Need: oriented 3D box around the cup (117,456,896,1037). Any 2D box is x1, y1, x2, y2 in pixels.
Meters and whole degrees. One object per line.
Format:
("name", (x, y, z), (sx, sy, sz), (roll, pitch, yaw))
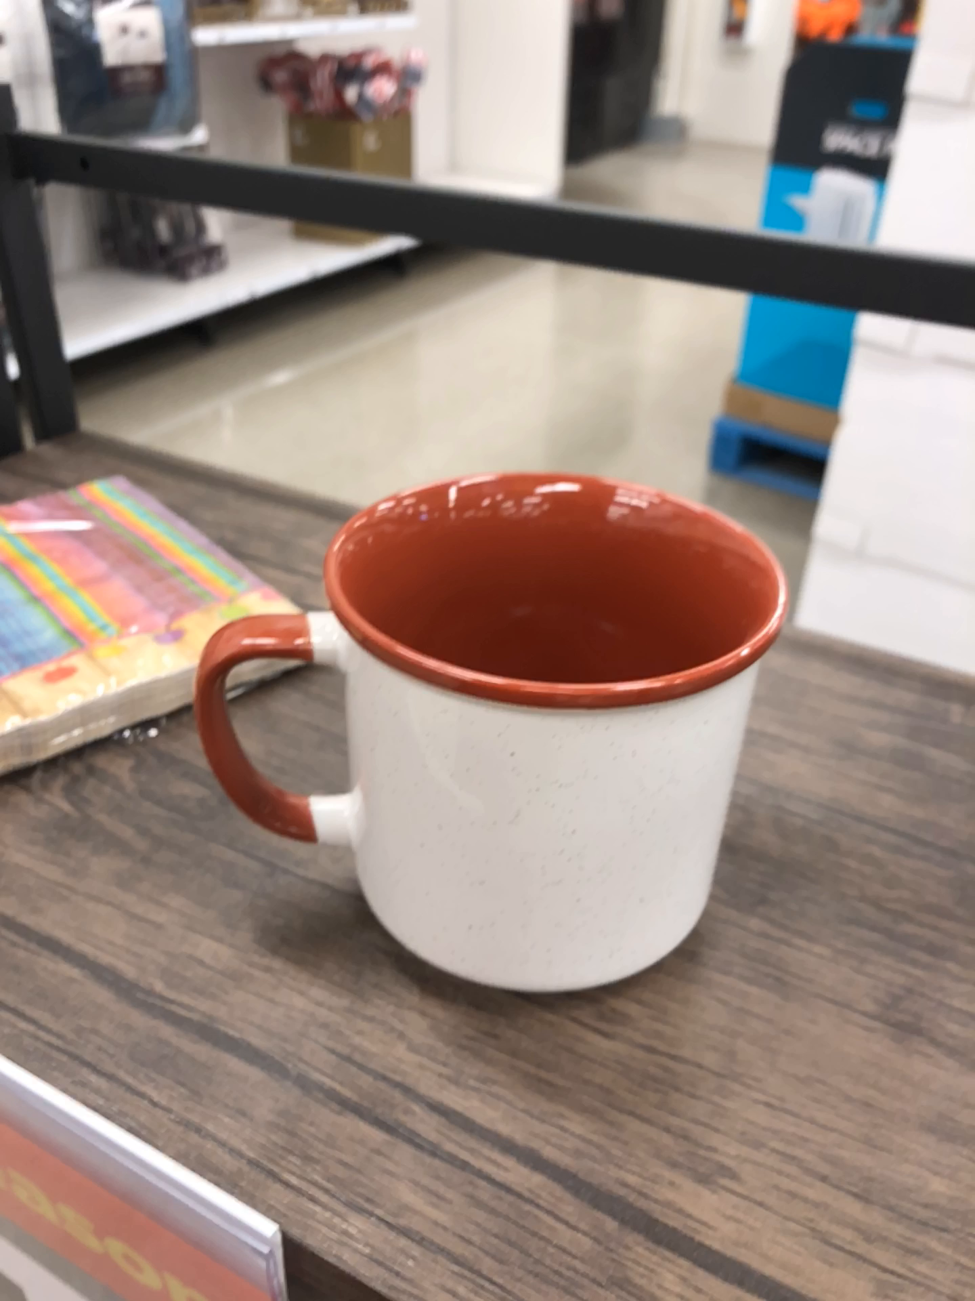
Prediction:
("cup", (-0.001, 0.017, 0.281), (0.150, 0.090, 0.110), (-3, 33, -6))
